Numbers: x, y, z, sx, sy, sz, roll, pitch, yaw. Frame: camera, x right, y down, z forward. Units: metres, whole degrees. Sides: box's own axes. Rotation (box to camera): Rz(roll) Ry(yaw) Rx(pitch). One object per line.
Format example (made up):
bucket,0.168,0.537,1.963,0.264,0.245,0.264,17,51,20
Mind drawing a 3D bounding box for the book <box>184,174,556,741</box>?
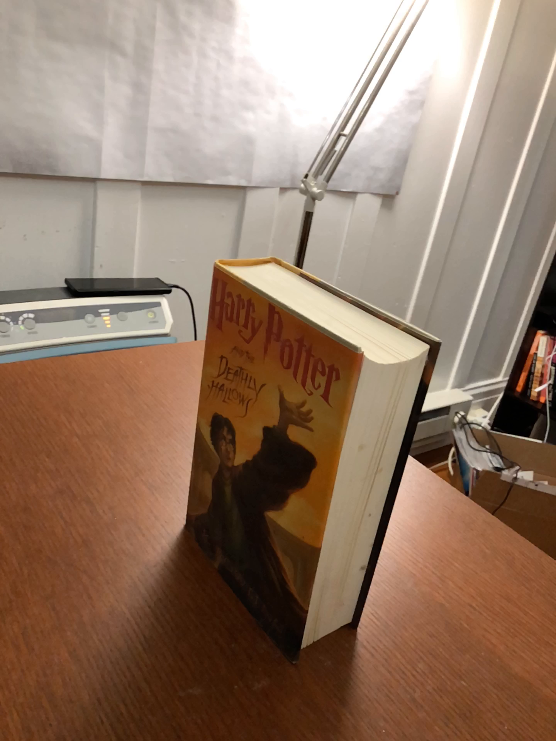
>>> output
book,0.033,0.048,0.403,0.070,0.298,0.211,-10,32,-36
